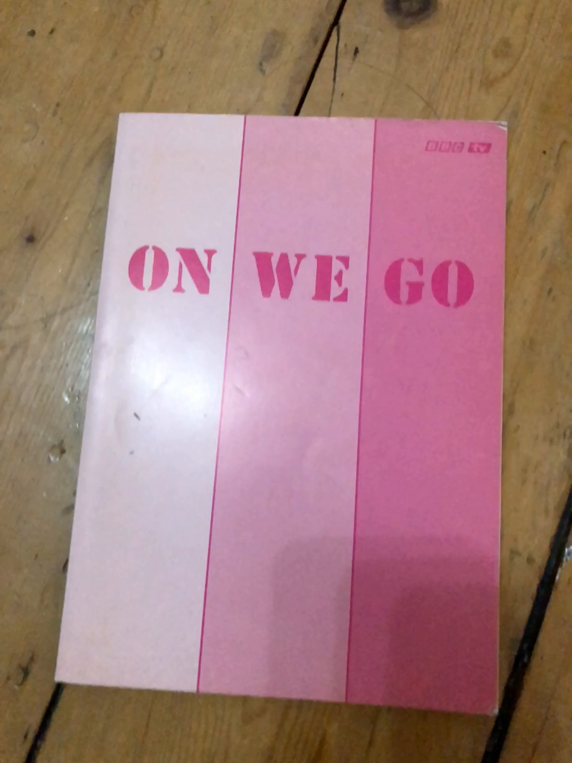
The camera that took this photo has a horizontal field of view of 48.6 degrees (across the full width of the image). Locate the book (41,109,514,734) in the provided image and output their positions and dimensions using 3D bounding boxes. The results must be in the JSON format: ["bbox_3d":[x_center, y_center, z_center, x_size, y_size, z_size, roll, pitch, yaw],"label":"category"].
[{"bbox_3d":[0.001,0.006,0.241,0.160,0.020,0.220,3,82,3],"label":"book"}]
